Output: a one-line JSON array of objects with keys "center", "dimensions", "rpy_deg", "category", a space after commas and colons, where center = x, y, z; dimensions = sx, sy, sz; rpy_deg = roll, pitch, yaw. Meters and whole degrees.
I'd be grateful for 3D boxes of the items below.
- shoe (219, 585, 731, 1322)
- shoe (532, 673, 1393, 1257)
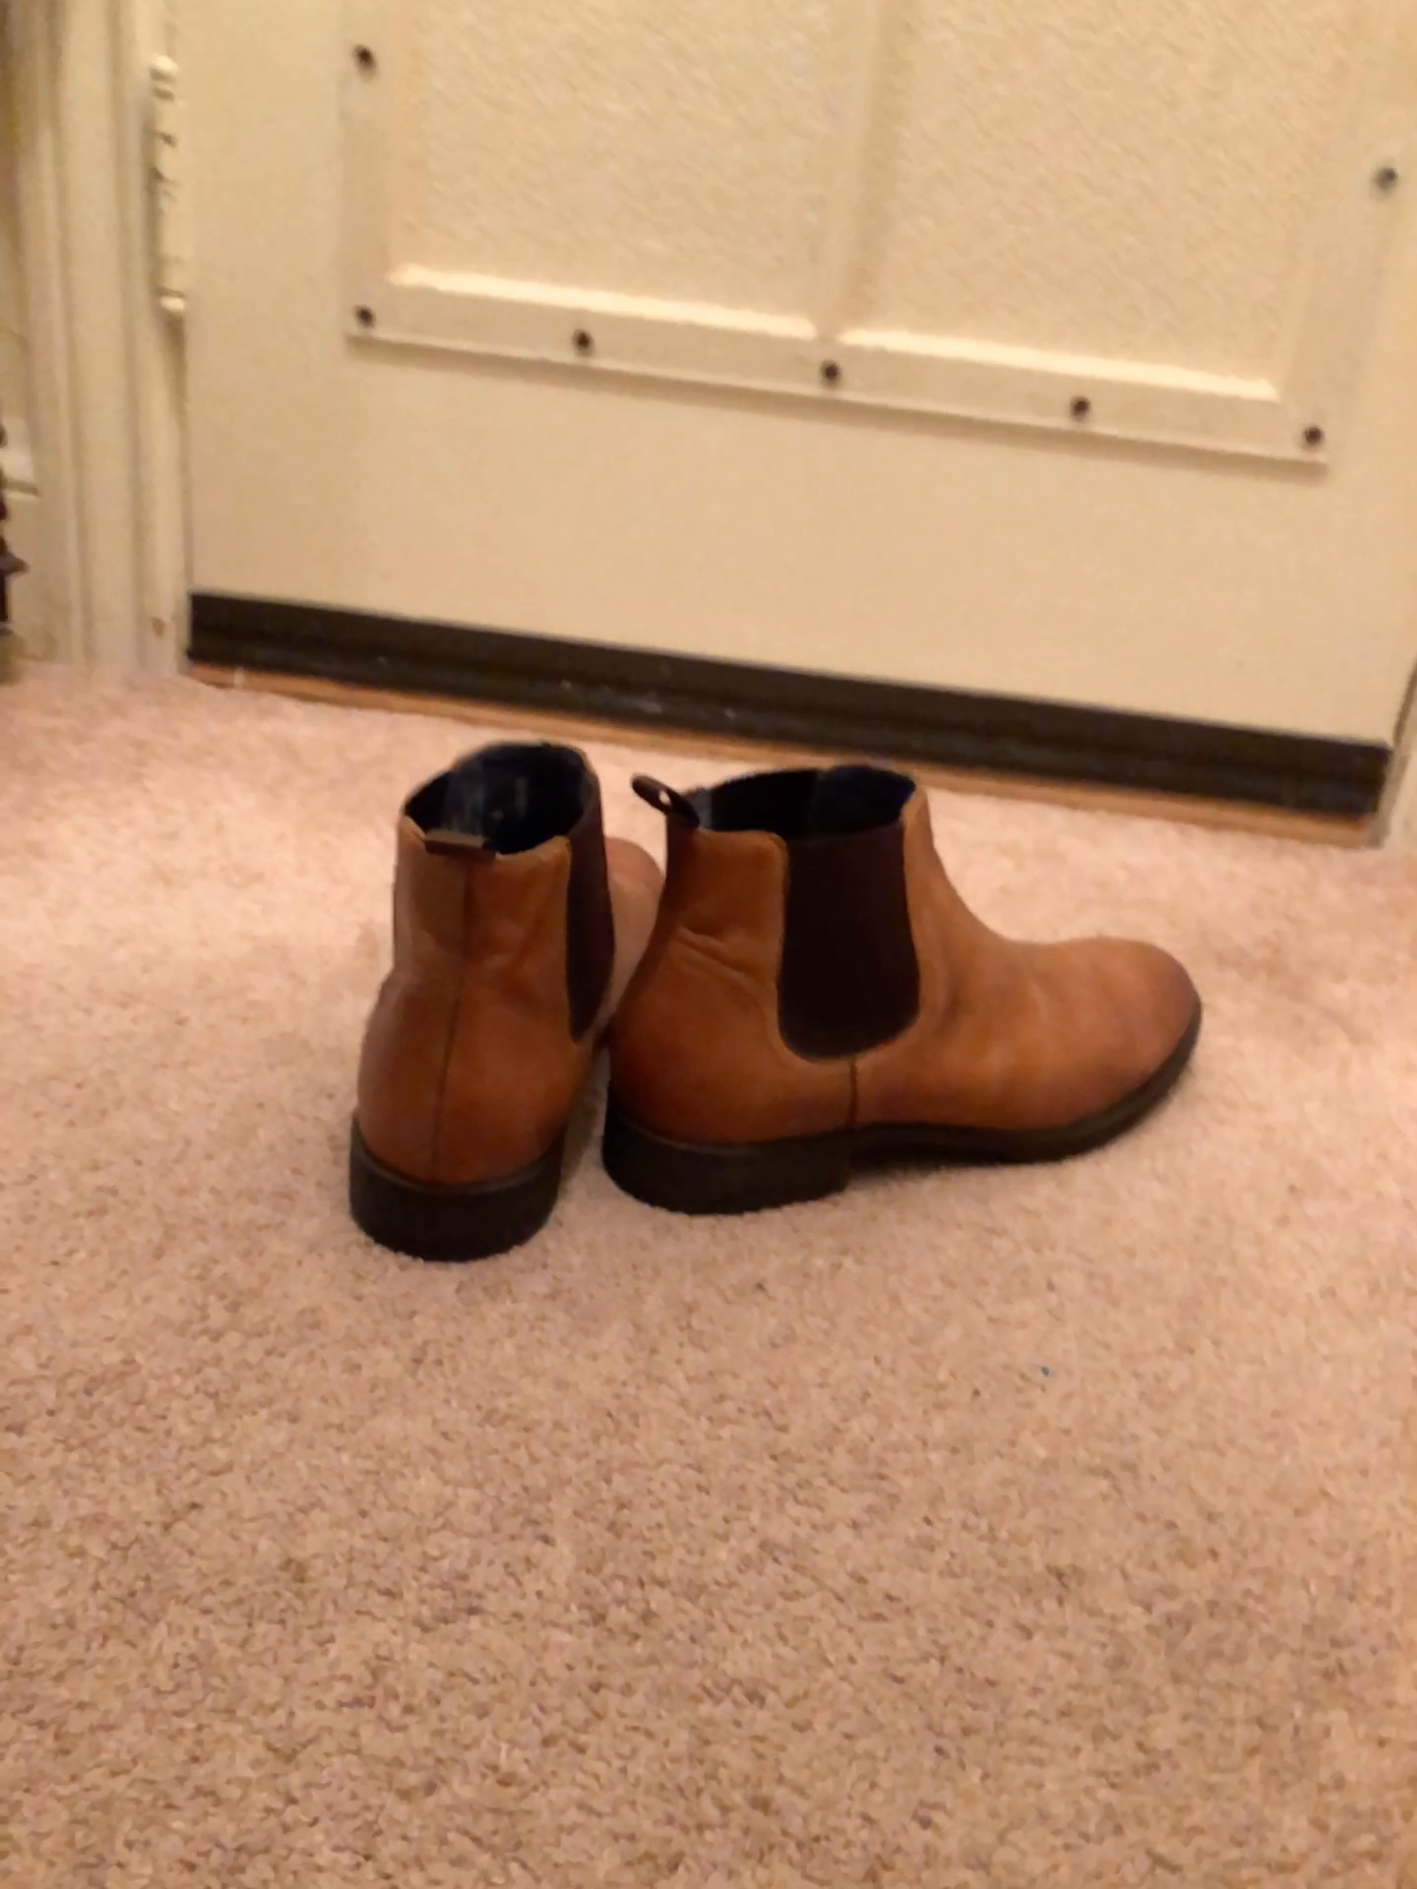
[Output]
[{"center": [-0.077, -0.022, 0.639], "dimensions": [0.109, 0.165, 0.314], "rpy_deg": [10, 26, 5], "category": "shoe"}, {"center": [0.100, -0.006, 0.630], "dimensions": [0.313, 0.165, 0.109], "rpy_deg": [-8, 30, -27], "category": "shoe"}]
